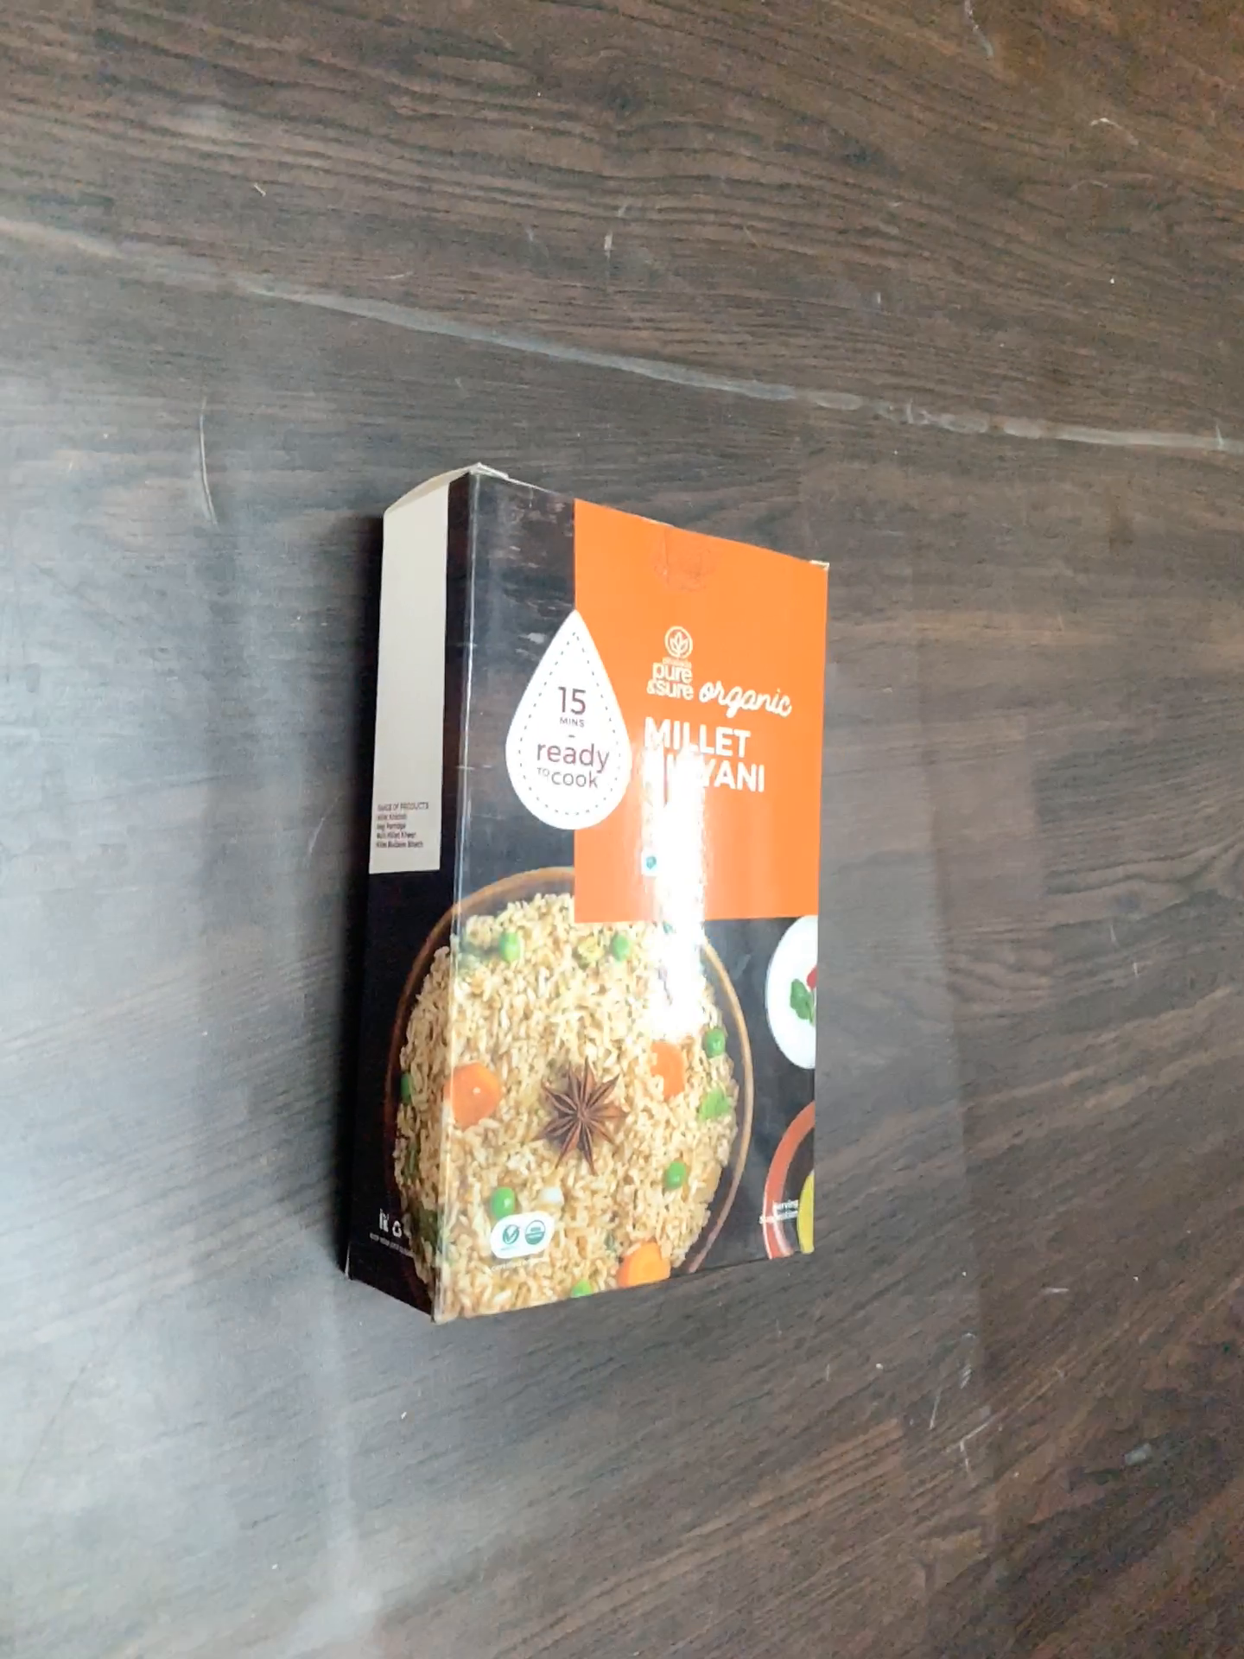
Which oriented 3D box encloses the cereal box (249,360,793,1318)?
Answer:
[{"bbox_3d":[-0.019,0.002,0.283,0.111,0.050,0.170,0,90,-41],"label":"cereal box"}]
